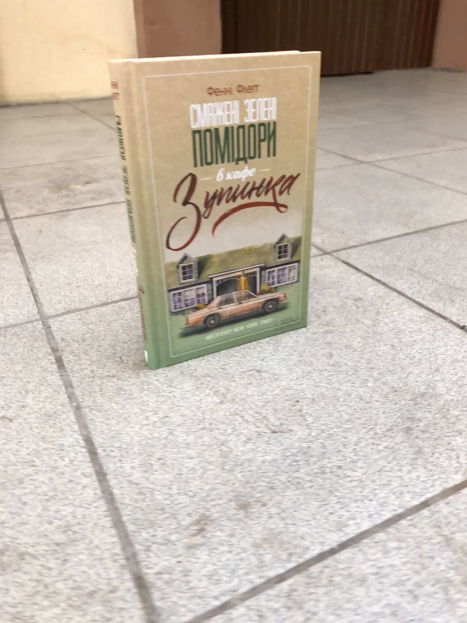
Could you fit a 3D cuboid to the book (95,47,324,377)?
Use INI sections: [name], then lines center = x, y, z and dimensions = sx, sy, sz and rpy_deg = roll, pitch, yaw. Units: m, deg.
[book]
center = -0.009, -0.067, 0.365
dimensions = 0.140, 0.209, 0.030
rpy_deg = -14, 30, -22
